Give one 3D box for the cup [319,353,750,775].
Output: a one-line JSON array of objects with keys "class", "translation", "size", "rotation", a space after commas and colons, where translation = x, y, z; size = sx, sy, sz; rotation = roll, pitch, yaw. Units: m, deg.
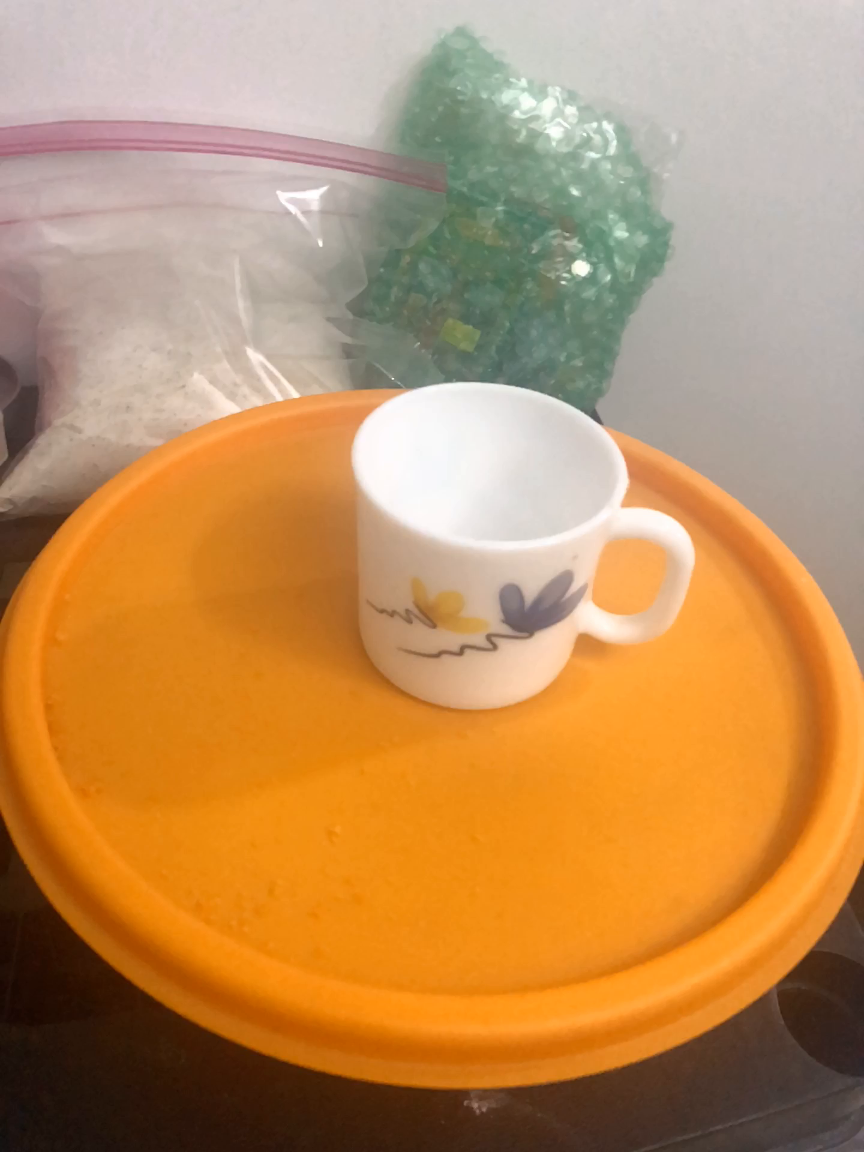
[{"class": "cup", "translation": [0.027, -0.005, 0.275], "size": [0.100, 0.070, 0.080], "rotation": [10, 43, 3]}]
